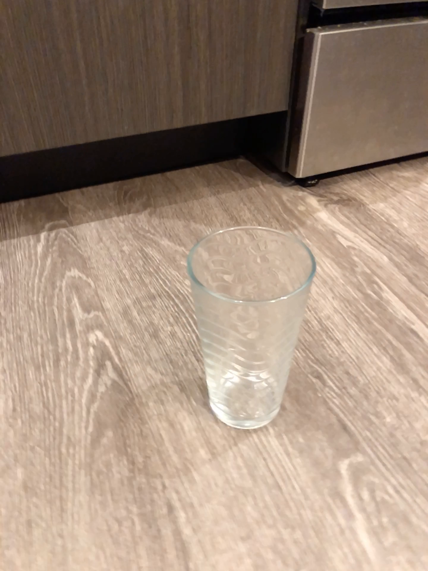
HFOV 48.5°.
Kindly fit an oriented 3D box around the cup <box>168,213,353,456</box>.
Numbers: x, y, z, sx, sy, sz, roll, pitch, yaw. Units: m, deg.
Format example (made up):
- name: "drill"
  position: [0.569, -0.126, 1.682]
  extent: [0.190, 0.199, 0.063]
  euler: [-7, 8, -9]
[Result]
- name: "cup"
  position: [0.028, 0.037, 0.360]
  extent: [0.090, 0.139, 0.090]
  euler: [0, 40, 0]
